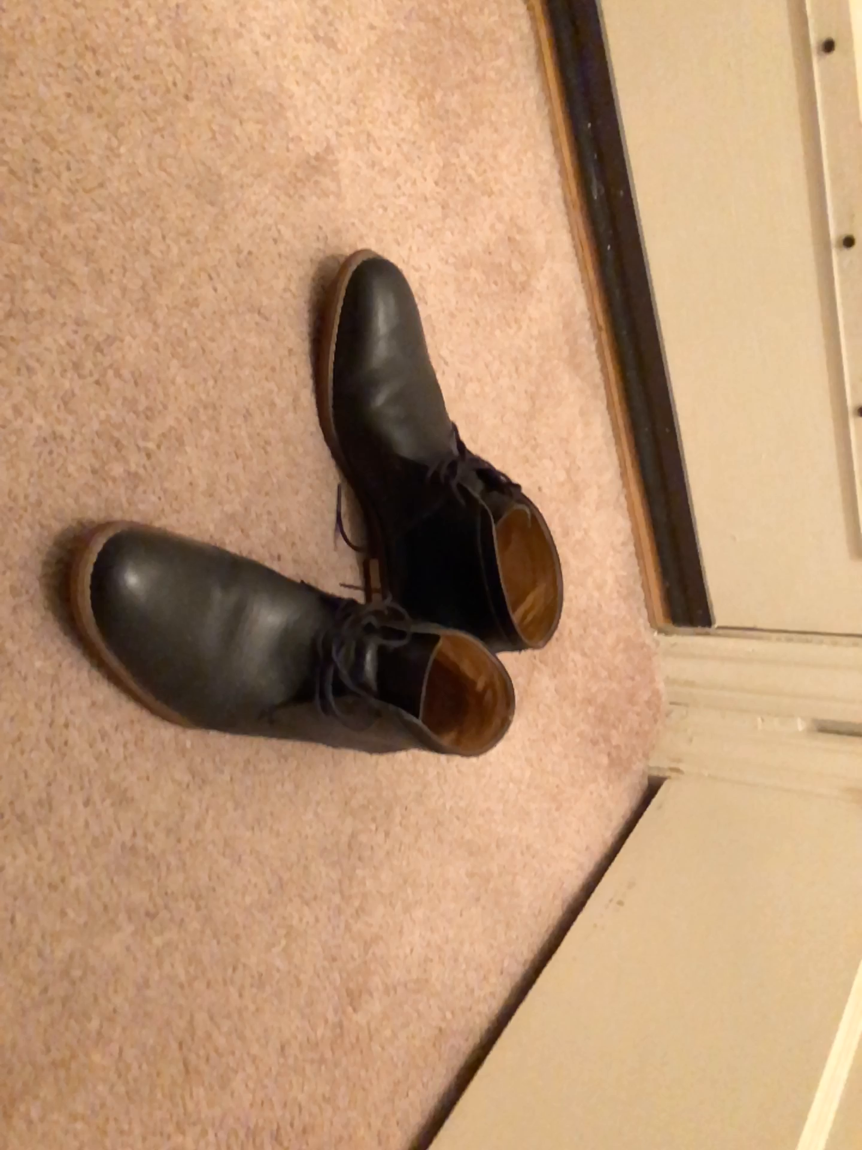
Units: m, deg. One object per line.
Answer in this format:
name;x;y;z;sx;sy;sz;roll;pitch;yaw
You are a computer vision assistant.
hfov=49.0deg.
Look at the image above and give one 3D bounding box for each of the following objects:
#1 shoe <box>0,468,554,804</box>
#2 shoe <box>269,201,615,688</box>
shoe;-0.069;0.050;0.566;0.303;0.135;0.116;27;71;-49
shoe;0.017;-0.086;0.674;0.117;0.135;0.302;-37;120;-45
